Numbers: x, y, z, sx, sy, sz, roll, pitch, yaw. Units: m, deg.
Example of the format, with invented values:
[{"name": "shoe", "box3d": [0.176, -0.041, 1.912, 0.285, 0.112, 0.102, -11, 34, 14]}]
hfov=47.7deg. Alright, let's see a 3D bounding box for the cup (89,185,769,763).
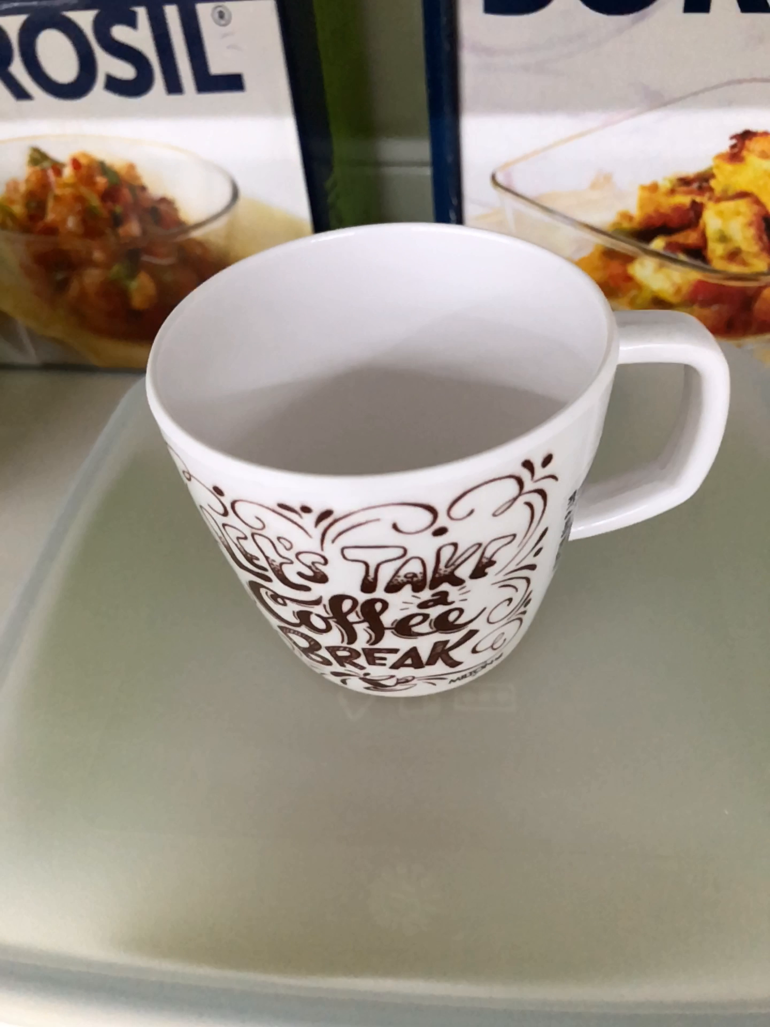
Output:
[{"name": "cup", "box3d": [0.014, -0.007, 0.160, 0.100, 0.070, 0.070, -4, 43, 3]}]
